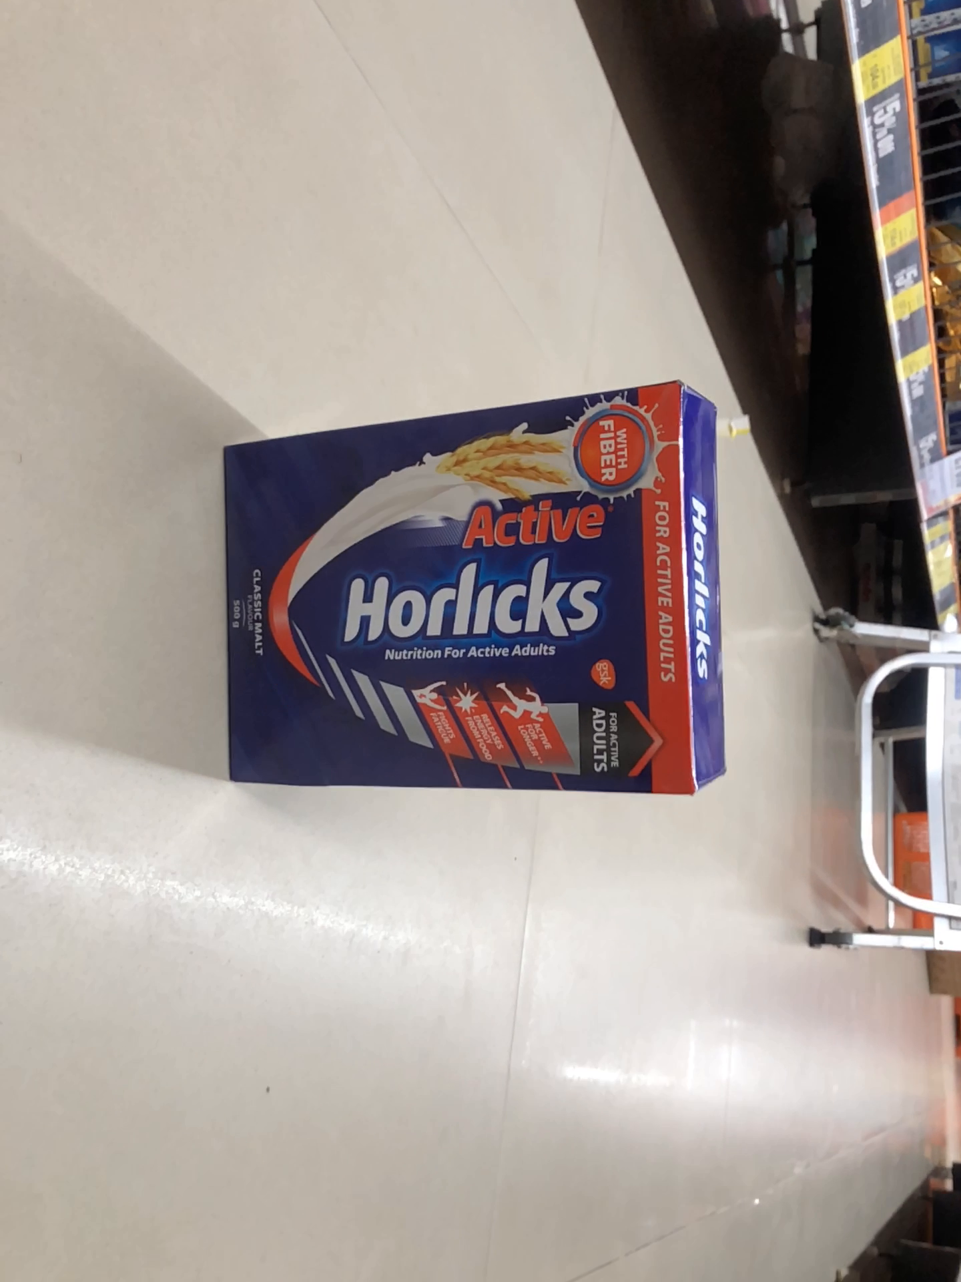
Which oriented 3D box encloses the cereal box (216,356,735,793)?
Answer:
[{"bbox_3d":[-0.006,-0.019,0.403,0.050,0.189,0.140,-3,91,-65],"label":"cereal box"}]
